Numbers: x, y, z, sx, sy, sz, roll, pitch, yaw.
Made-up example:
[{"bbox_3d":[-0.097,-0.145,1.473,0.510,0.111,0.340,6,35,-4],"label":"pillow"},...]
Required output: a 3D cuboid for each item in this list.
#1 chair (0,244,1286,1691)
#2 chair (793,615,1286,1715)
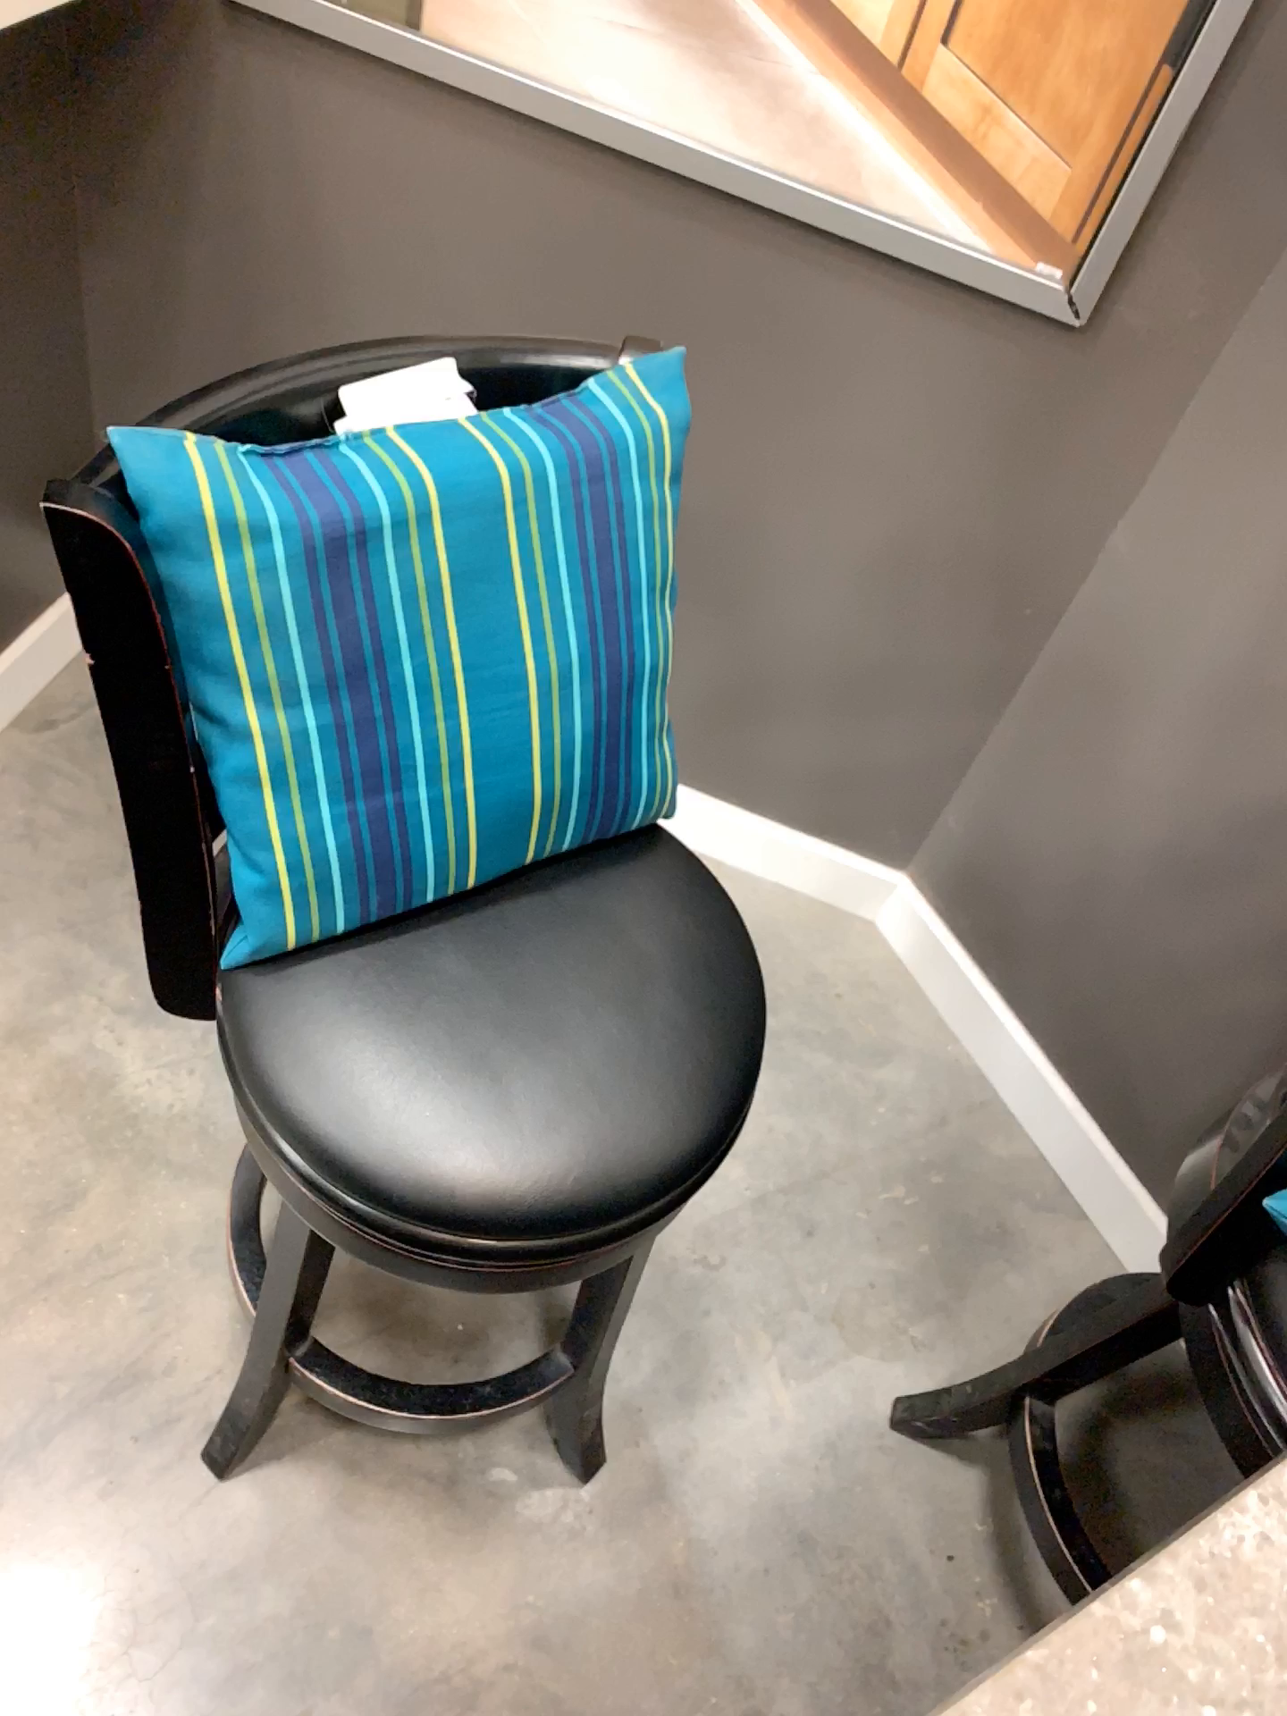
[{"bbox_3d":[-0.134,0.118,1.023,0.536,0.904,0.596,-14,56,-28],"label":"chair"},{"bbox_3d":[0.641,0.385,1.086,0.536,0.924,0.596,-14,56,-28],"label":"chair"}]
